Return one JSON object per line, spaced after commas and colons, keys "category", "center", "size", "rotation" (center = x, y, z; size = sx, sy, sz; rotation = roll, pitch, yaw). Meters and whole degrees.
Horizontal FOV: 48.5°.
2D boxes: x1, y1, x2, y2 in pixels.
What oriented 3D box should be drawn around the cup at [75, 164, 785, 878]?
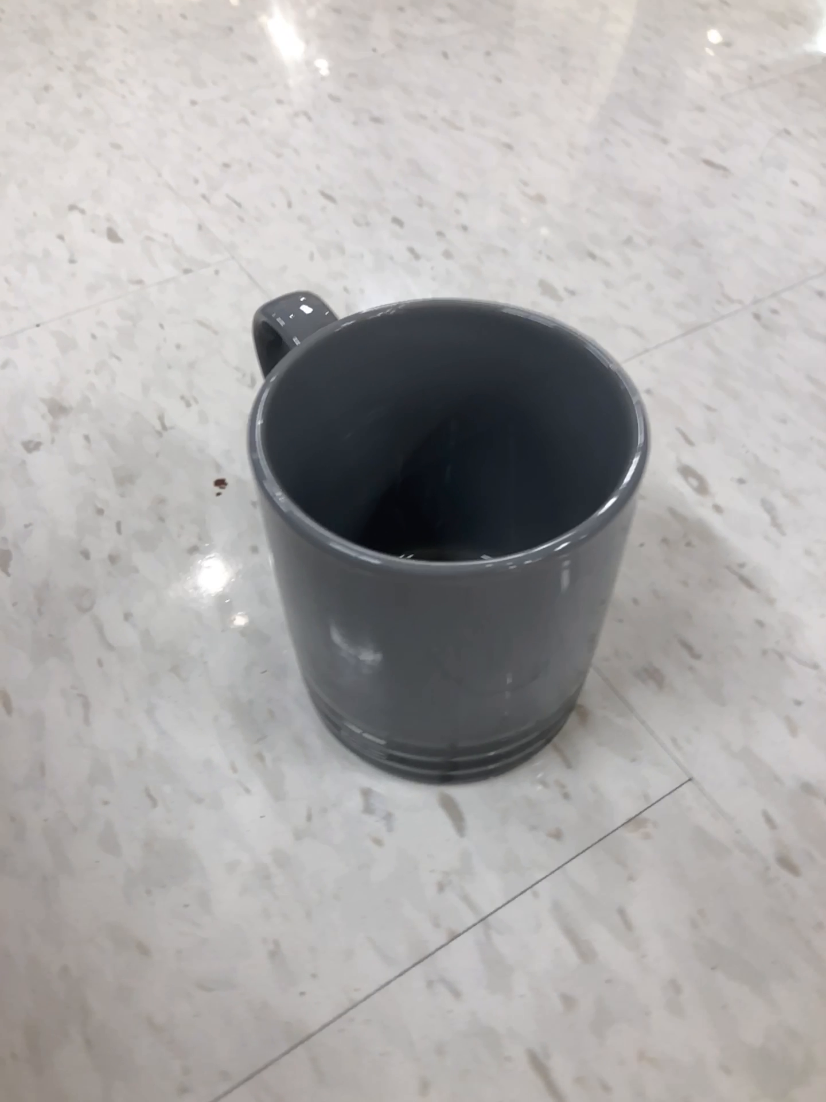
{"category": "cup", "center": [-0.005, -0.017, 0.251], "size": [0.100, 0.089, 0.151], "rotation": [-28, 56, -21]}
